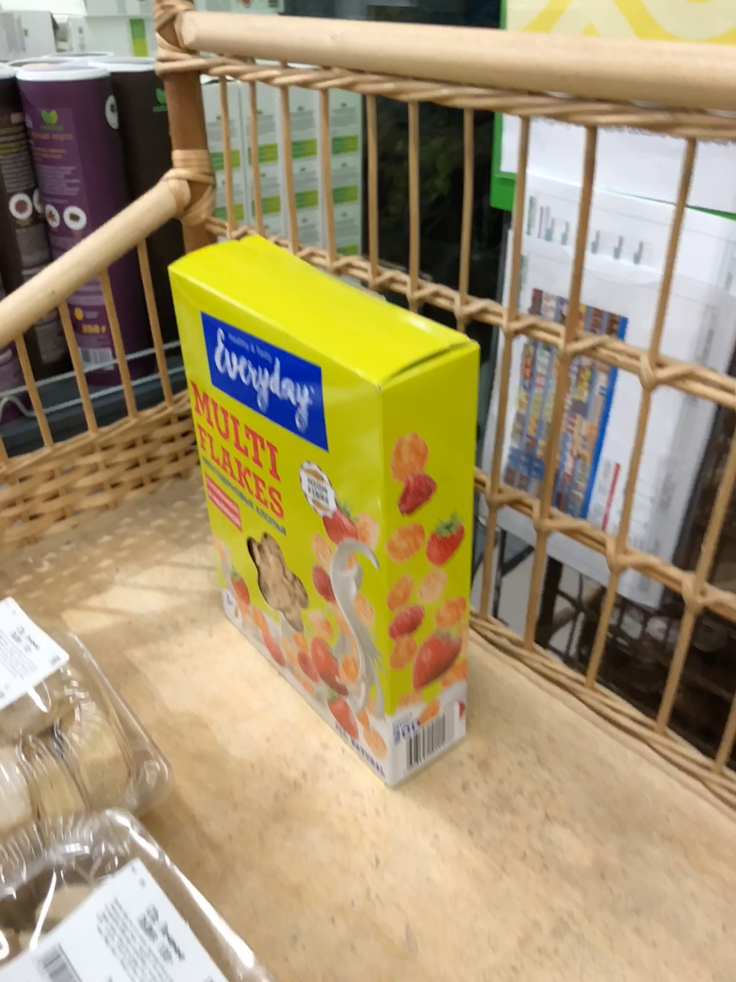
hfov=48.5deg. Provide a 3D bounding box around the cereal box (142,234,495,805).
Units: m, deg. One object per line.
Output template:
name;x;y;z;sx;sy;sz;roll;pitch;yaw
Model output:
cereal box;-0.027;0.010;0.415;0.060;0.229;0.181;-25;40;-29
